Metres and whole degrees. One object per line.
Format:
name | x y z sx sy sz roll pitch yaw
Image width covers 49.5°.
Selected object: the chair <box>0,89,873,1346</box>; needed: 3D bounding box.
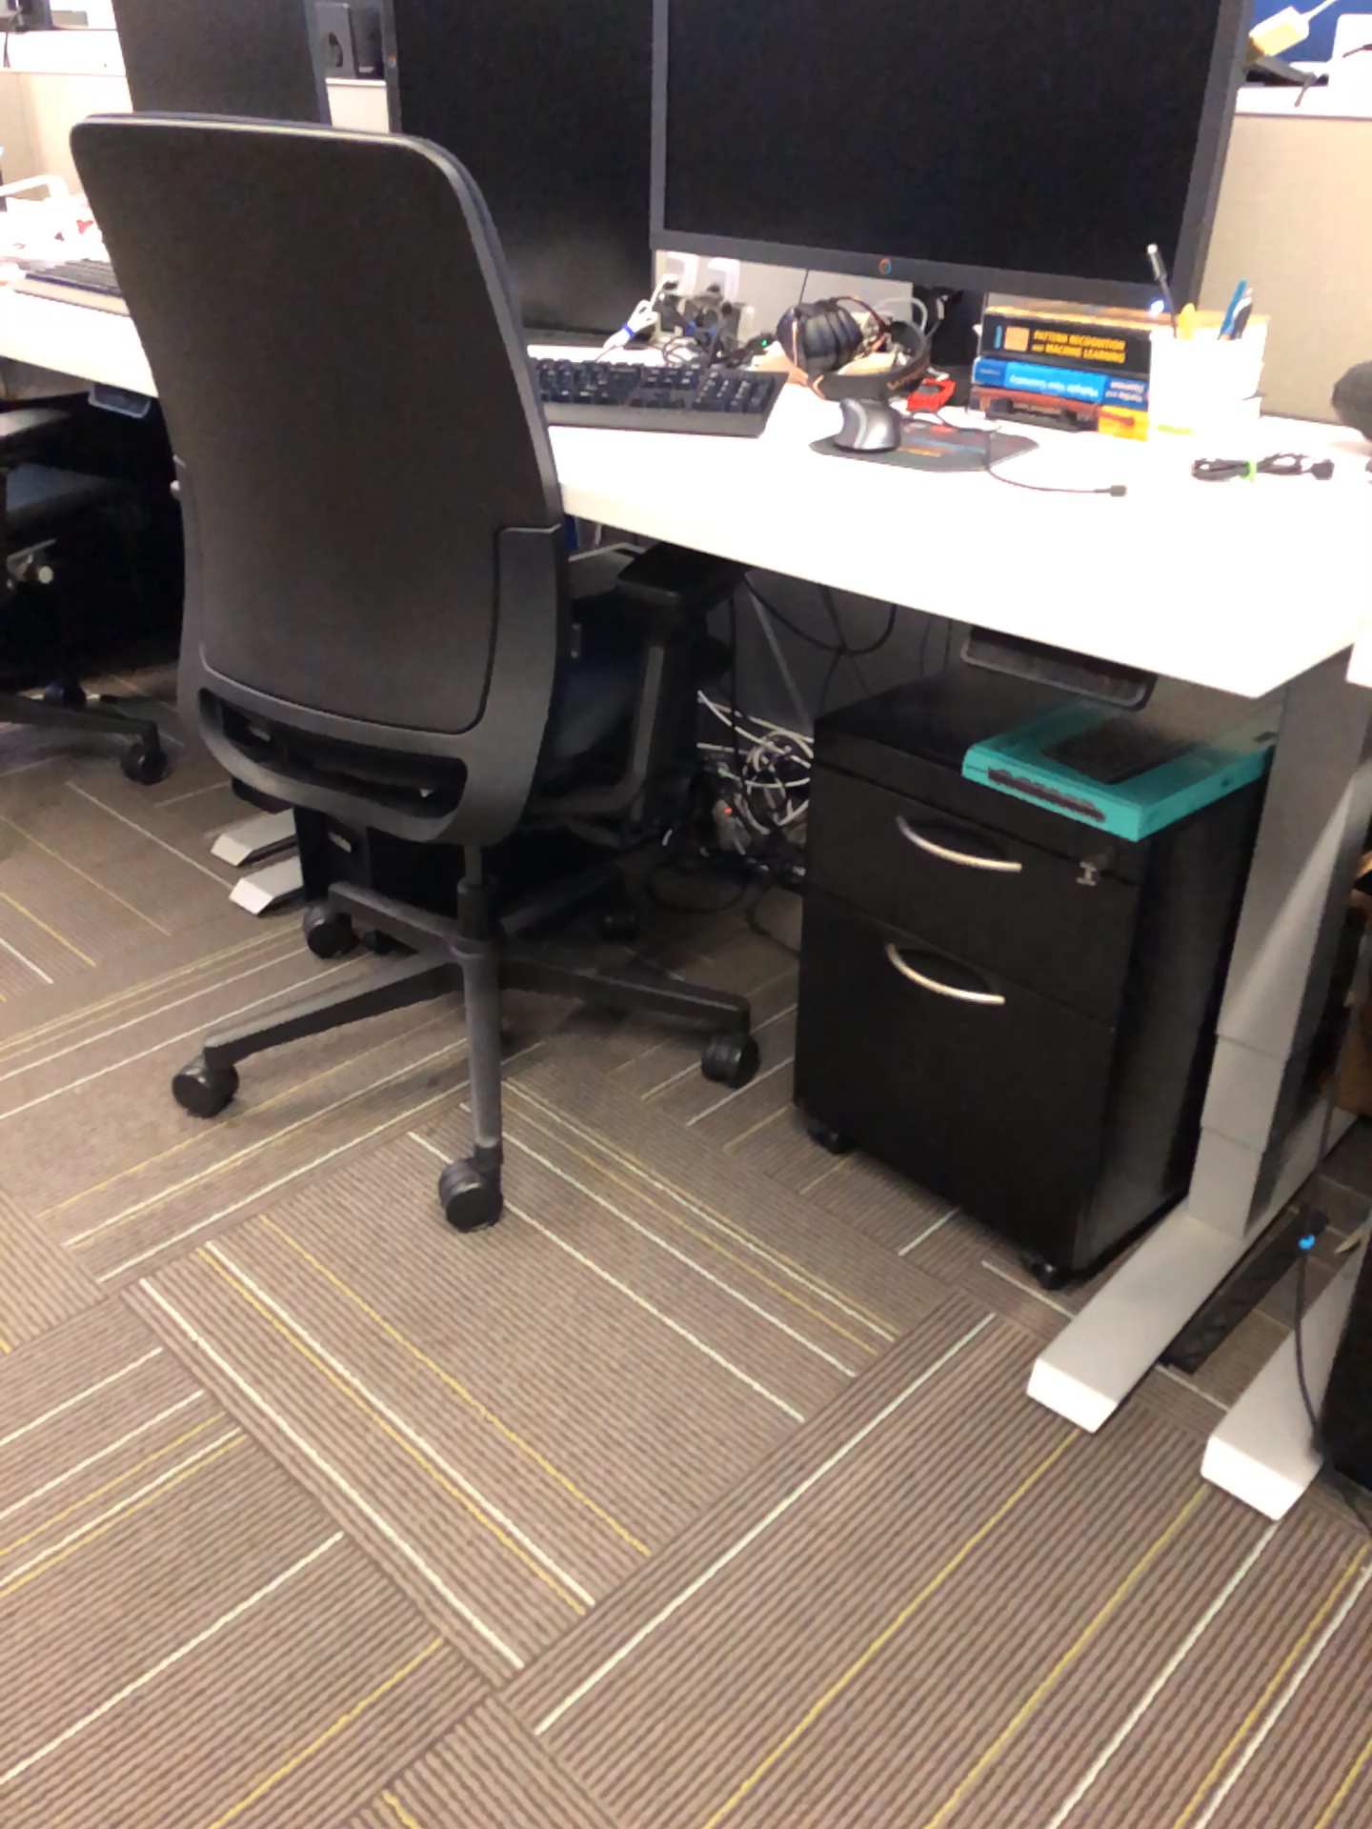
chair | -0.349 -0.293 1.584 0.782 1.014 0.662 25 38 37
